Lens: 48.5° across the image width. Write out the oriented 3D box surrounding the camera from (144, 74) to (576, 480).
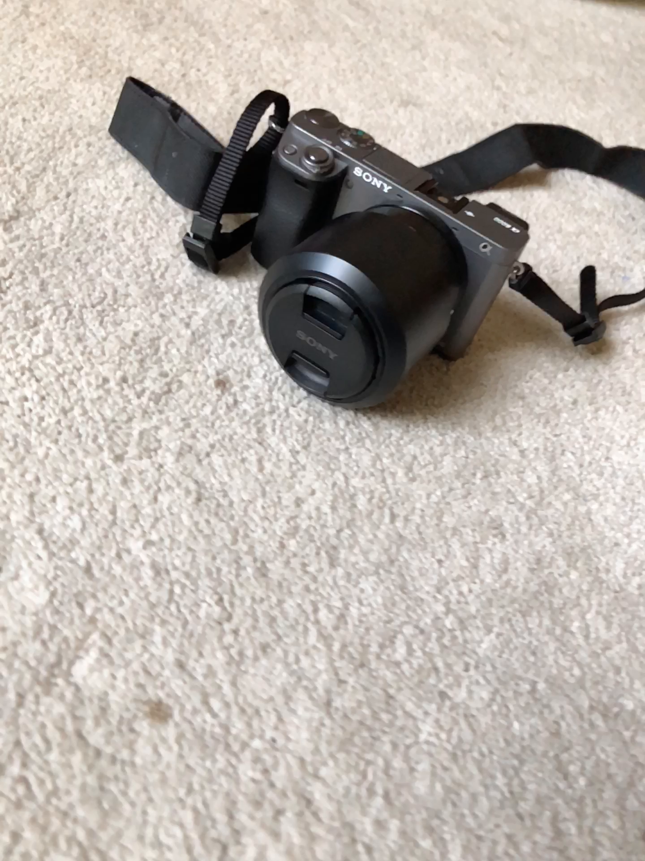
[{"bbox_3d":[0.016,-0.074,0.312,0.130,0.080,0.121,33,48,11],"label":"camera"}]
